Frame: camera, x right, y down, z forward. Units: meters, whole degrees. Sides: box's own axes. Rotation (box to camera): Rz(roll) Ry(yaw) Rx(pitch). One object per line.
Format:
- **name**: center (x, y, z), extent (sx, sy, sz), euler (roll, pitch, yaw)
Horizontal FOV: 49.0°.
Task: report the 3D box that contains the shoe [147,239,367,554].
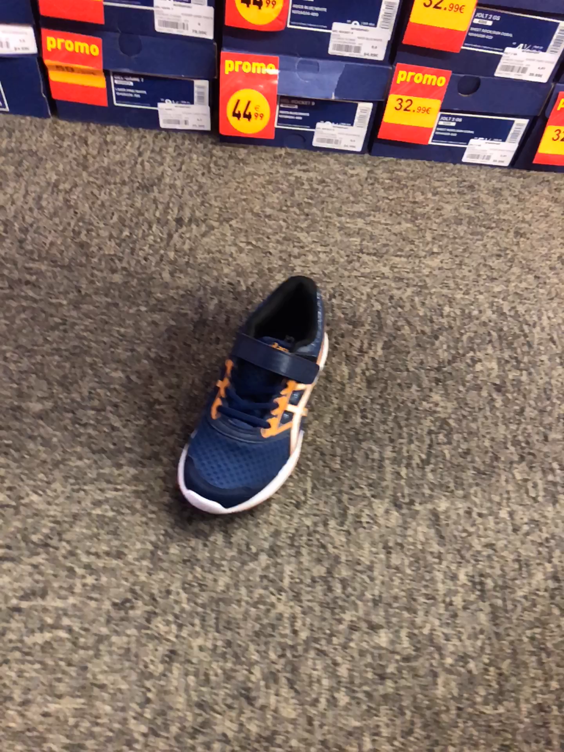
- **shoe**: center (-0.014, 0.008, 0.520), extent (0.090, 0.099, 0.236), euler (20, 54, 7)
